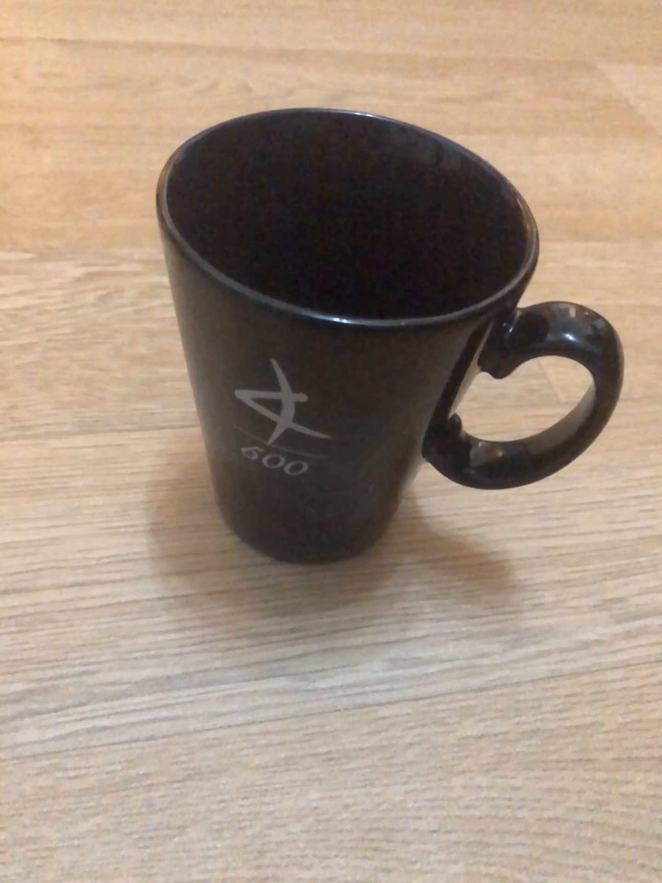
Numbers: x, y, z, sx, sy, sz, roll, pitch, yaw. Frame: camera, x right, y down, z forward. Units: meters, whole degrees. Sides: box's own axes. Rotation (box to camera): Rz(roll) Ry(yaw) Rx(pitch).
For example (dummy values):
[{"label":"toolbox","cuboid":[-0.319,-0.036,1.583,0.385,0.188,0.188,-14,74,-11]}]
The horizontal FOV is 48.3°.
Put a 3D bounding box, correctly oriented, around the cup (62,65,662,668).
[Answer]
[{"label":"cup","cuboid":[0.015,-0.021,0.195,0.120,0.089,0.091,20,50,8]}]
